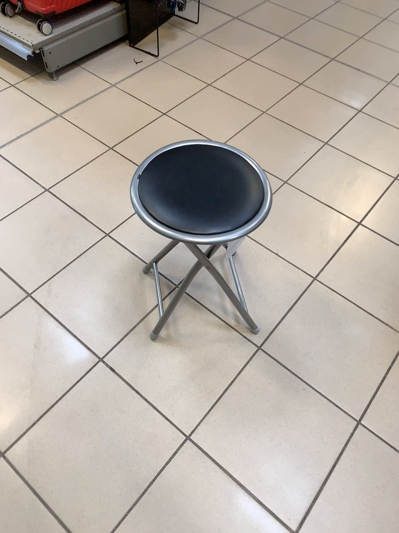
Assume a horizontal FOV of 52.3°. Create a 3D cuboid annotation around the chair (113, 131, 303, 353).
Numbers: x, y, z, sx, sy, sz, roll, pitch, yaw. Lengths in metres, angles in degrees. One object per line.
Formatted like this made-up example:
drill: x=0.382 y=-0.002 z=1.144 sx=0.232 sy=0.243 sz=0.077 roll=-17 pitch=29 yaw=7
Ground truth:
chair: x=-0.006 y=-0.047 z=0.999 sx=0.334 sy=0.402 sz=0.329 roll=-7 pitch=55 yaw=-8
